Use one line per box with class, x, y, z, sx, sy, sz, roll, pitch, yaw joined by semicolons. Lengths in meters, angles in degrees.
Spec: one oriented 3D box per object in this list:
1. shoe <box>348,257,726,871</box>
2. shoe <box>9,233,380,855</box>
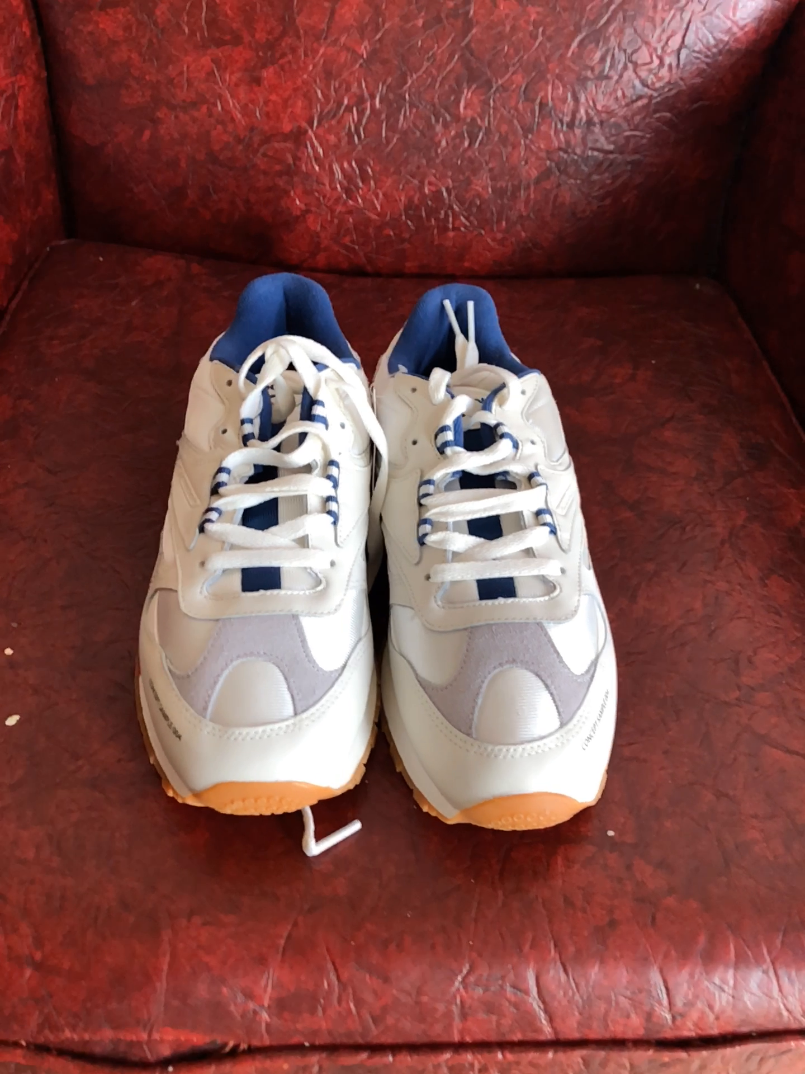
shoe;0.036;-0.005;0.403;0.110;0.099;0.272;1;49;-6
shoe;-0.074;-0.014;0.394;0.110;0.099;0.272;1;49;-6
